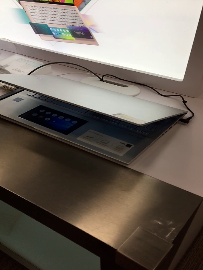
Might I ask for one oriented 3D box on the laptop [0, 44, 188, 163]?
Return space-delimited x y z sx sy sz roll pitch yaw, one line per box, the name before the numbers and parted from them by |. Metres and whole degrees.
laptop | -0.045 -0.091 0.579 0.351 0.099 0.233 23 42 22
